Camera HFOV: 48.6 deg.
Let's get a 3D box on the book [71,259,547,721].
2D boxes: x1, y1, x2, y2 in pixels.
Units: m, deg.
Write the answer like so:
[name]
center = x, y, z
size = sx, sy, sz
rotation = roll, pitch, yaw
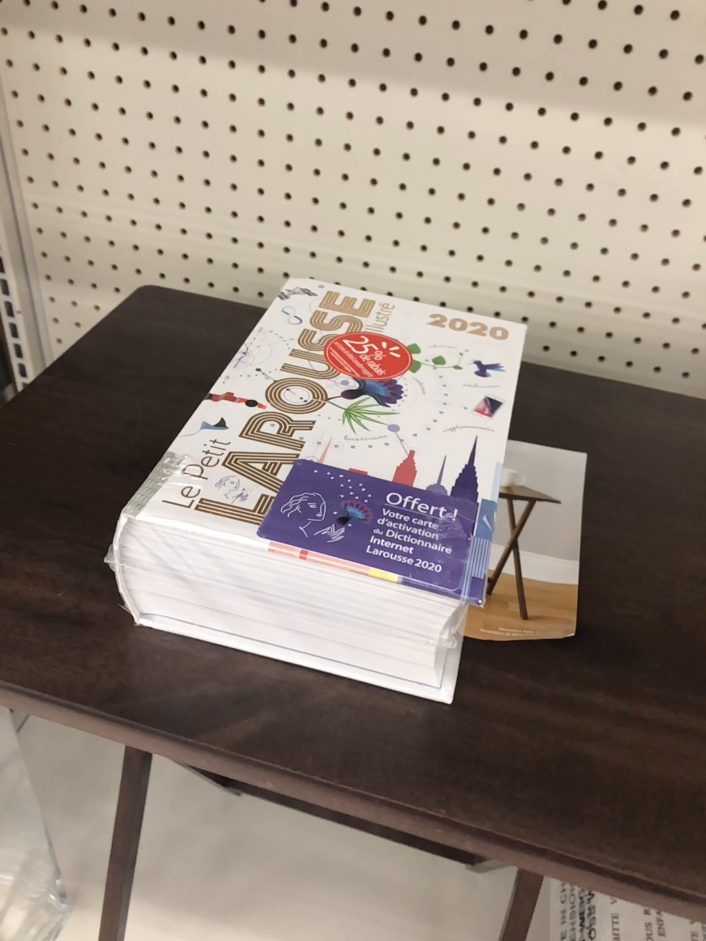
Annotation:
[book]
center = -0.001, -0.013, 0.398
size = 0.170, 0.069, 0.232
rotation = 13, 40, 8
